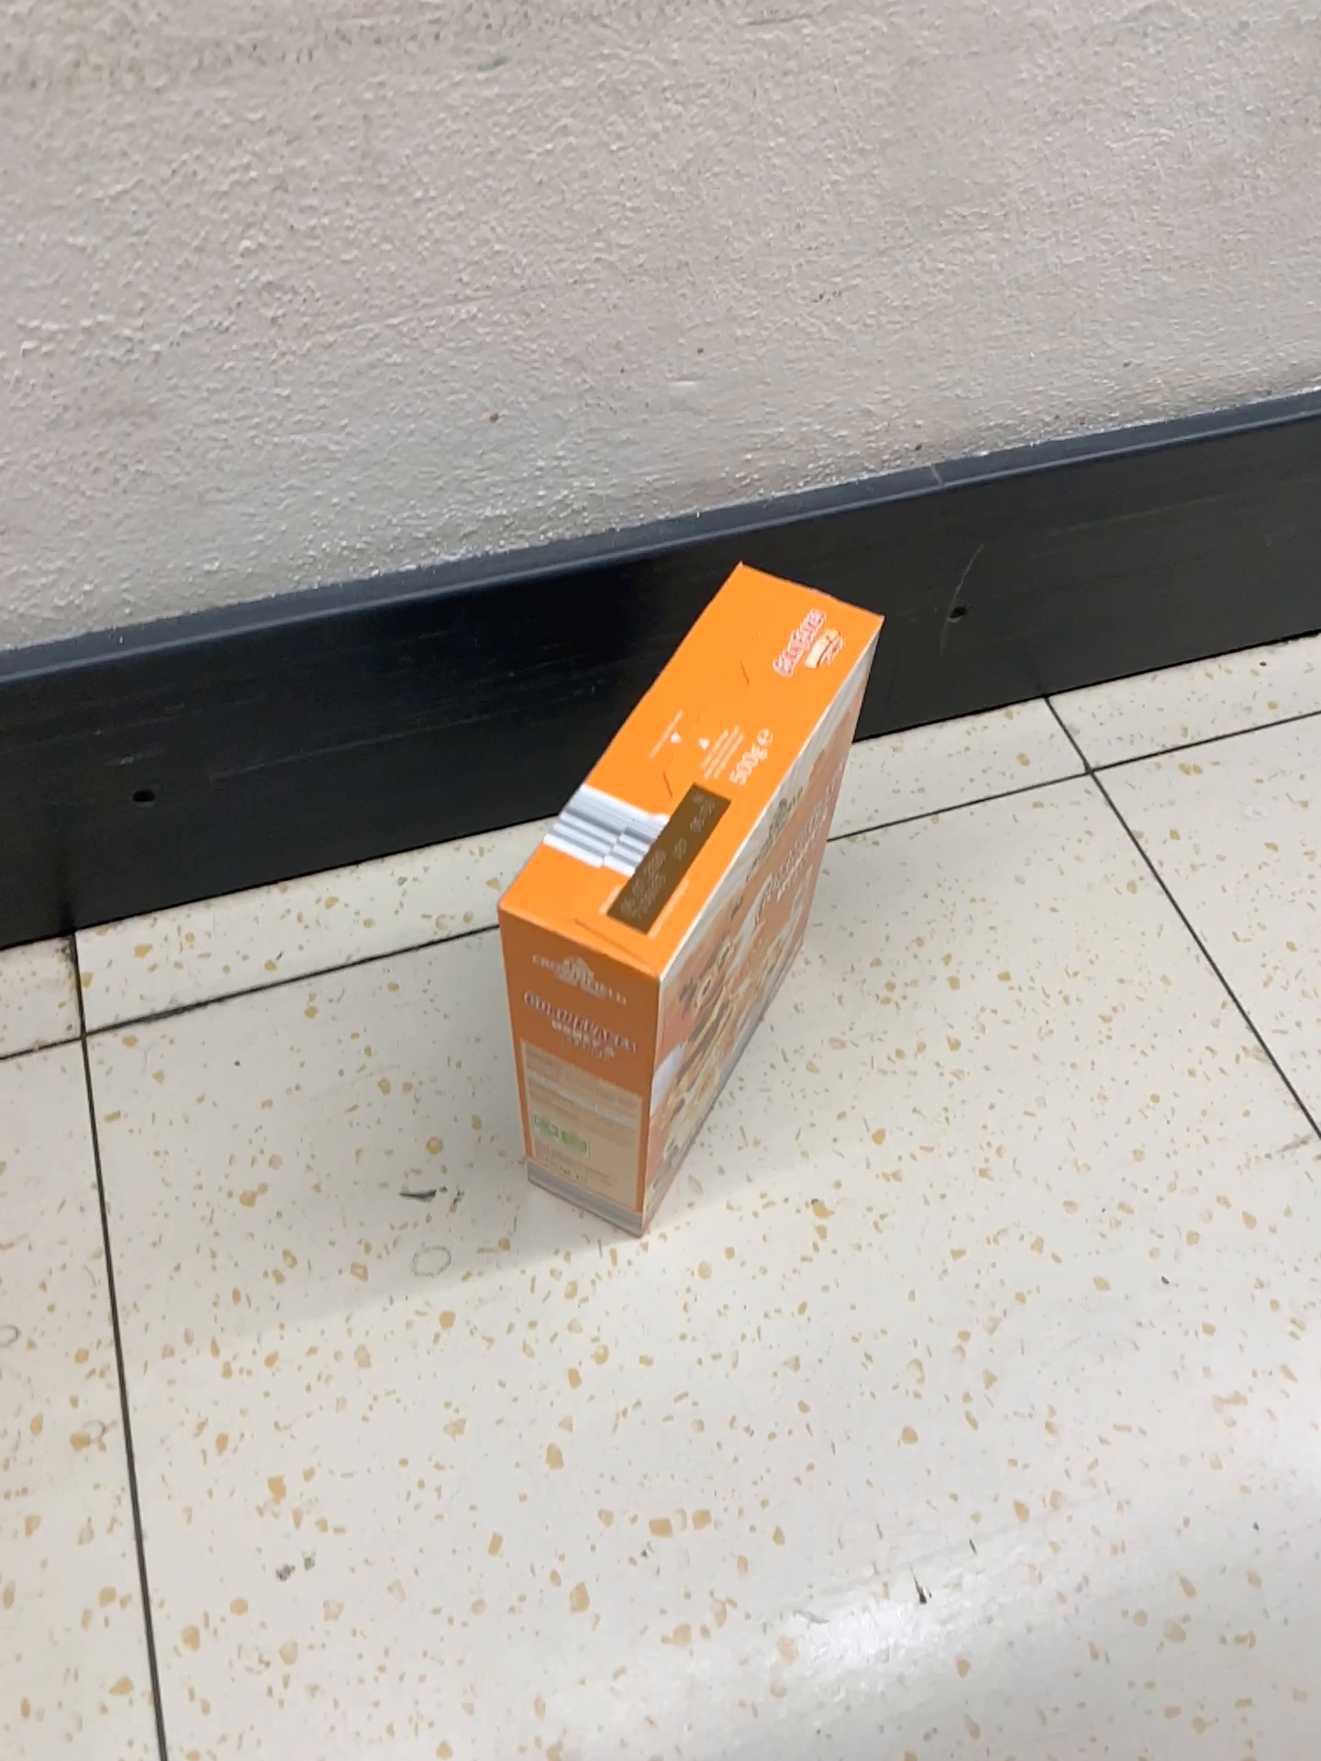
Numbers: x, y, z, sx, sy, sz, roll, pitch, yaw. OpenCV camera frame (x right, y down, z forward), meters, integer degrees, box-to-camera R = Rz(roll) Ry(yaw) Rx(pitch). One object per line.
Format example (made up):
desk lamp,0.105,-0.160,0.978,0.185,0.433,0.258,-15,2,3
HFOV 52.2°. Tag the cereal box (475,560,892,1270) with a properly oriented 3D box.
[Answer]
cereal box,0.010,0.029,0.610,0.070,0.268,0.201,25,58,14
